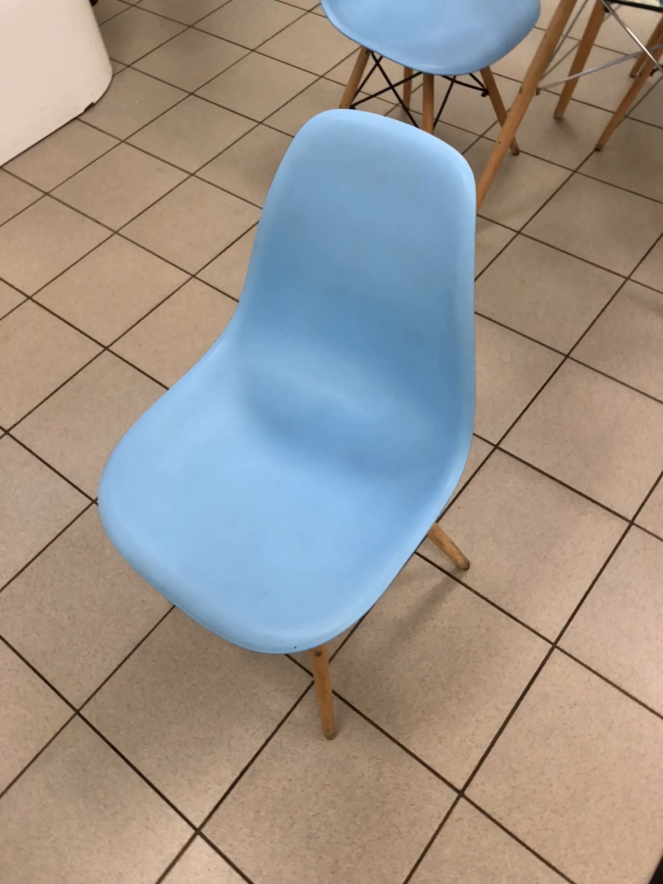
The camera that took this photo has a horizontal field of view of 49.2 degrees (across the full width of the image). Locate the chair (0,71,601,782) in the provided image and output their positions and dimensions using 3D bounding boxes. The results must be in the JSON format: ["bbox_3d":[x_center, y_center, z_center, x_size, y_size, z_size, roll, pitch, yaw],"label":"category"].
[{"bbox_3d":[-0.047,0.033,1.069,0.471,0.777,0.571,32,64,23],"label":"chair"}]
